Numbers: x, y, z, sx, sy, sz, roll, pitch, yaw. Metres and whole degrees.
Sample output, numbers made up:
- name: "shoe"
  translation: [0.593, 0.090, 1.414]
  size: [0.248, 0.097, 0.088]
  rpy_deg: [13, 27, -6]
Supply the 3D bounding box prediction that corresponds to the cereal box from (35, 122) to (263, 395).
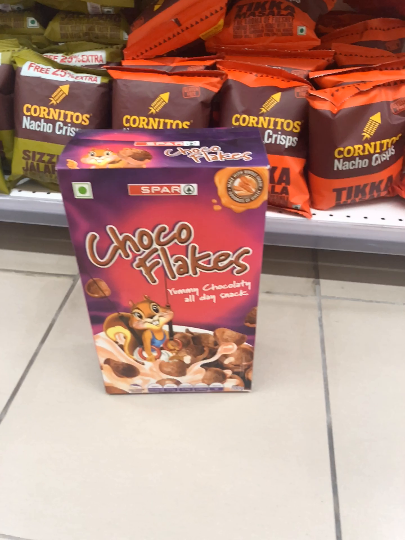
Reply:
- name: "cereal box"
  translation: [-0.046, 0.009, 0.537]
  size: [0.200, 0.339, 0.090]
  rpy_deg: [-1, 40, -1]
